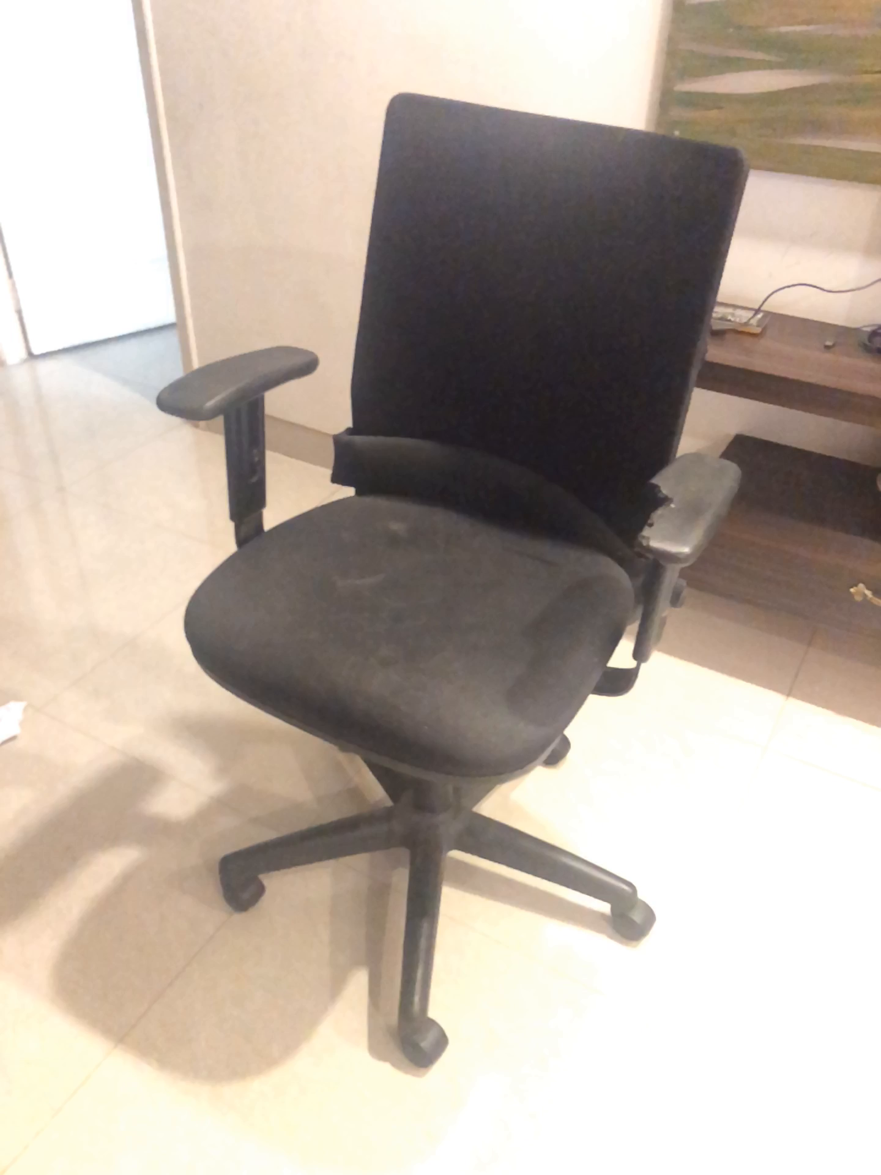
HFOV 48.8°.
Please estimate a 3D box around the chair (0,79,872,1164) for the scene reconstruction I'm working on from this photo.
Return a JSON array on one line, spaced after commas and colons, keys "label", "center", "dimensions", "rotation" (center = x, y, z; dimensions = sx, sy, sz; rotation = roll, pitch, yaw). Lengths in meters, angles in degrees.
[{"label": "chair", "center": [0.006, -0.008, 1.265], "dimensions": [0.711, 1.042, 0.704], "rotation": [17, 38, 22]}]
